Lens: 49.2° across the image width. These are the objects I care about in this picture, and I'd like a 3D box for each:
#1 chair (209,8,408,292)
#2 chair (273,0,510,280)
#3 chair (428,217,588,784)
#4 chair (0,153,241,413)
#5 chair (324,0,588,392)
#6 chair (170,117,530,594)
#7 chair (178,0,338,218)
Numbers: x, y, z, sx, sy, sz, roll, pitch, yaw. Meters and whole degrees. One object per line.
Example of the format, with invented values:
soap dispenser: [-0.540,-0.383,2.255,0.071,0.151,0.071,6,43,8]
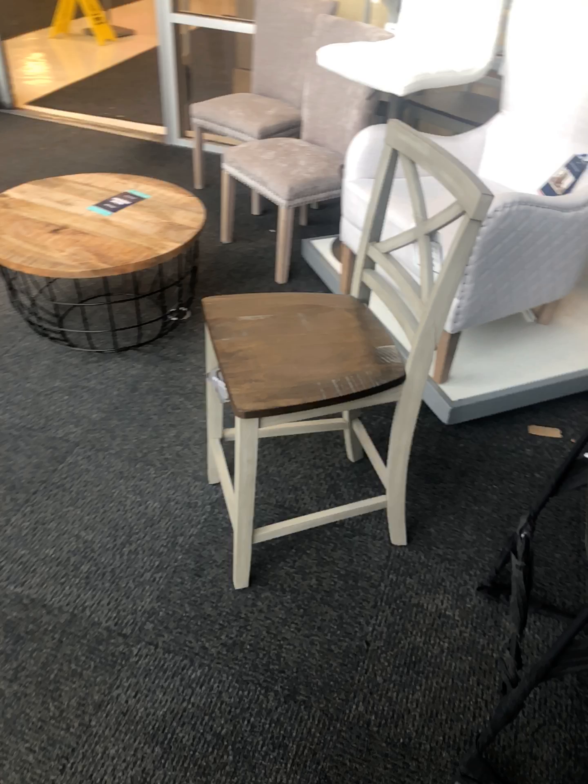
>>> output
chair: [0.032,-1.027,2.726,0.576,0.944,0.491,-25,47,-31]
chair: [0.247,-0.893,2.028,0.485,0.914,0.381,-16,43,-22]
chair: [0.616,0.294,1.095,0.535,0.934,0.542,13,40,11]
chair: [-0.614,-0.405,2.194,0.686,0.536,0.521,-27,48,-32]
chair: [0.607,-0.682,1.965,0.705,1.014,0.692,-16,43,-22]
chair: [0.048,-0.061,1.471,0.535,0.934,0.472,-8,41,-14]
chair: [-0.187,-1.518,3.351,0.510,0.944,0.577,29,46,28]
